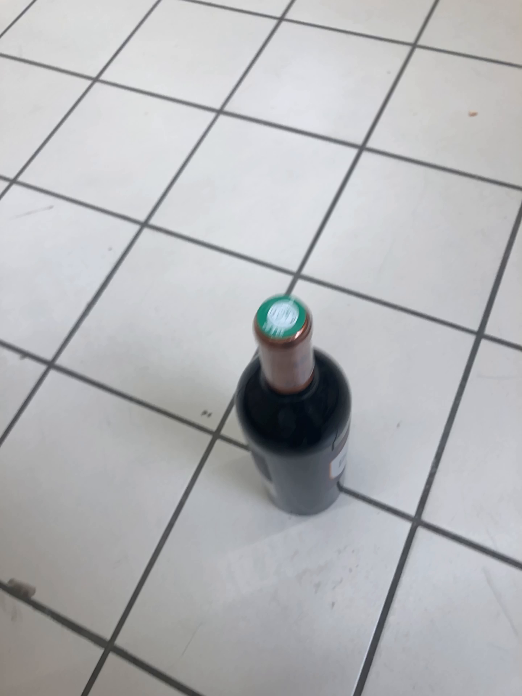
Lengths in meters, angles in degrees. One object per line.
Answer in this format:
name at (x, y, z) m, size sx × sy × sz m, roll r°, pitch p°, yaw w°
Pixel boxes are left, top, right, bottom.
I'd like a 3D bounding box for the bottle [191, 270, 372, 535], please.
bottle at (0.023, 0.064, 0.403) m, size 0.080 × 0.289 × 0.080 m, roll -3°, pitch 63°, yaw 5°
